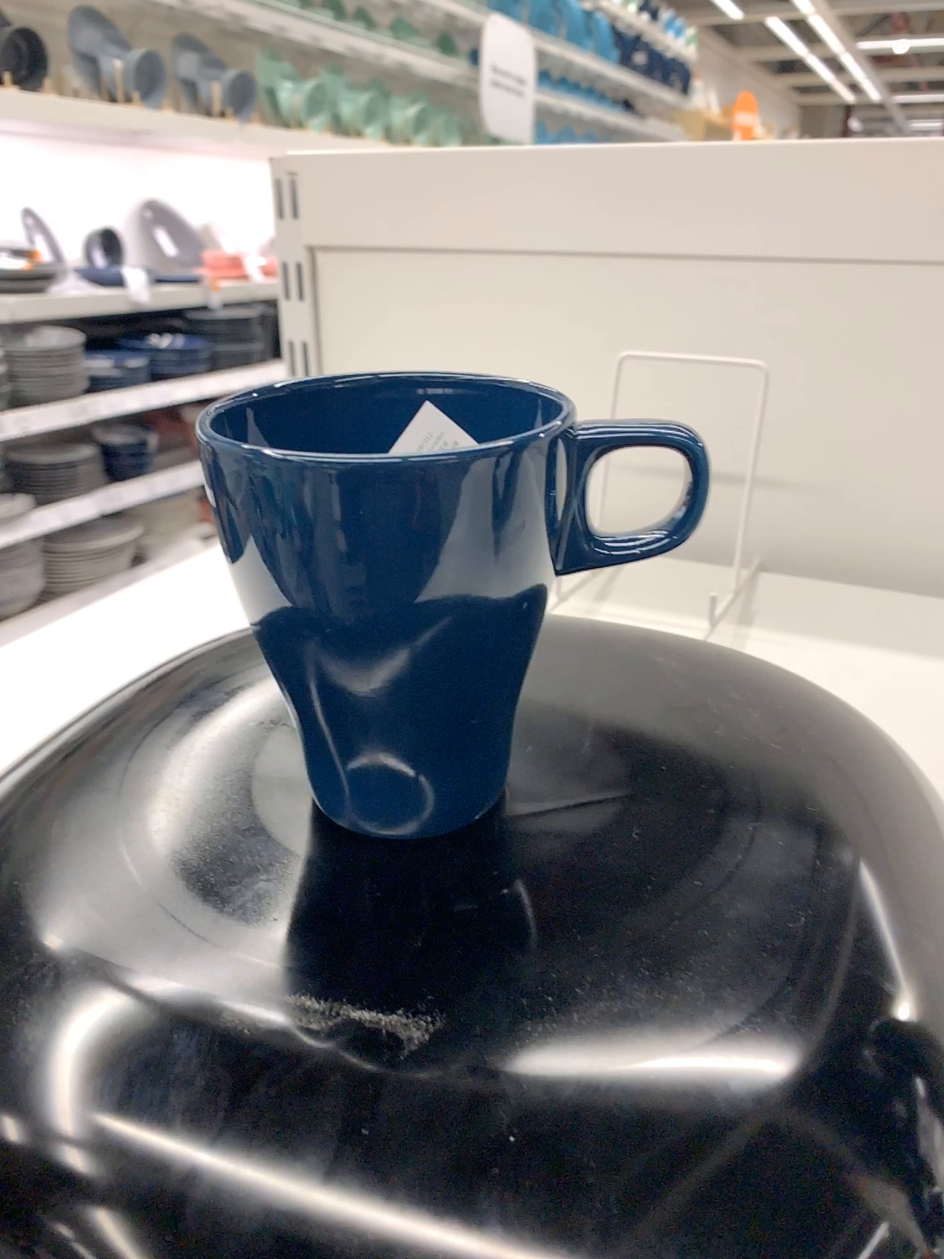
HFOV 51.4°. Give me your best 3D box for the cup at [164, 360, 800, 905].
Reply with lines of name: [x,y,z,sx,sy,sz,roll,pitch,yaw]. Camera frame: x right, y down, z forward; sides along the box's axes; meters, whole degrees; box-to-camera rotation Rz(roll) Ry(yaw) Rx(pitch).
cup: [-0.003,-0.008,0.241,0.120,0.100,0.090,-4,23,-9]
